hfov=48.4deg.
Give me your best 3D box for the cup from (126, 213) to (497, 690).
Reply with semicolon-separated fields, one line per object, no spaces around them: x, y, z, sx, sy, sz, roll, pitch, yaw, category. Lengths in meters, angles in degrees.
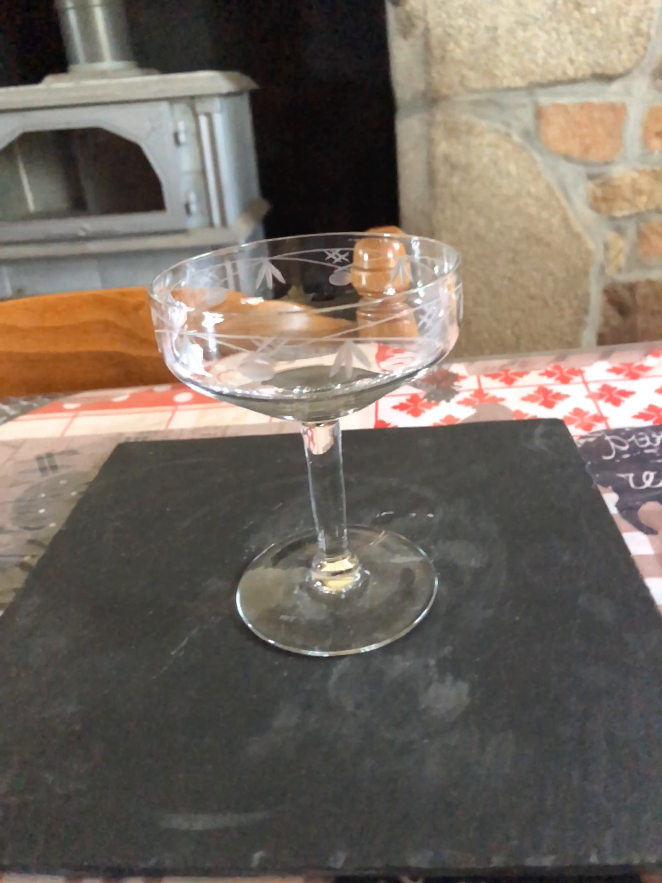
-0.003;-0.002;0.243;0.090;0.119;0.090;-4;26;2;cup
